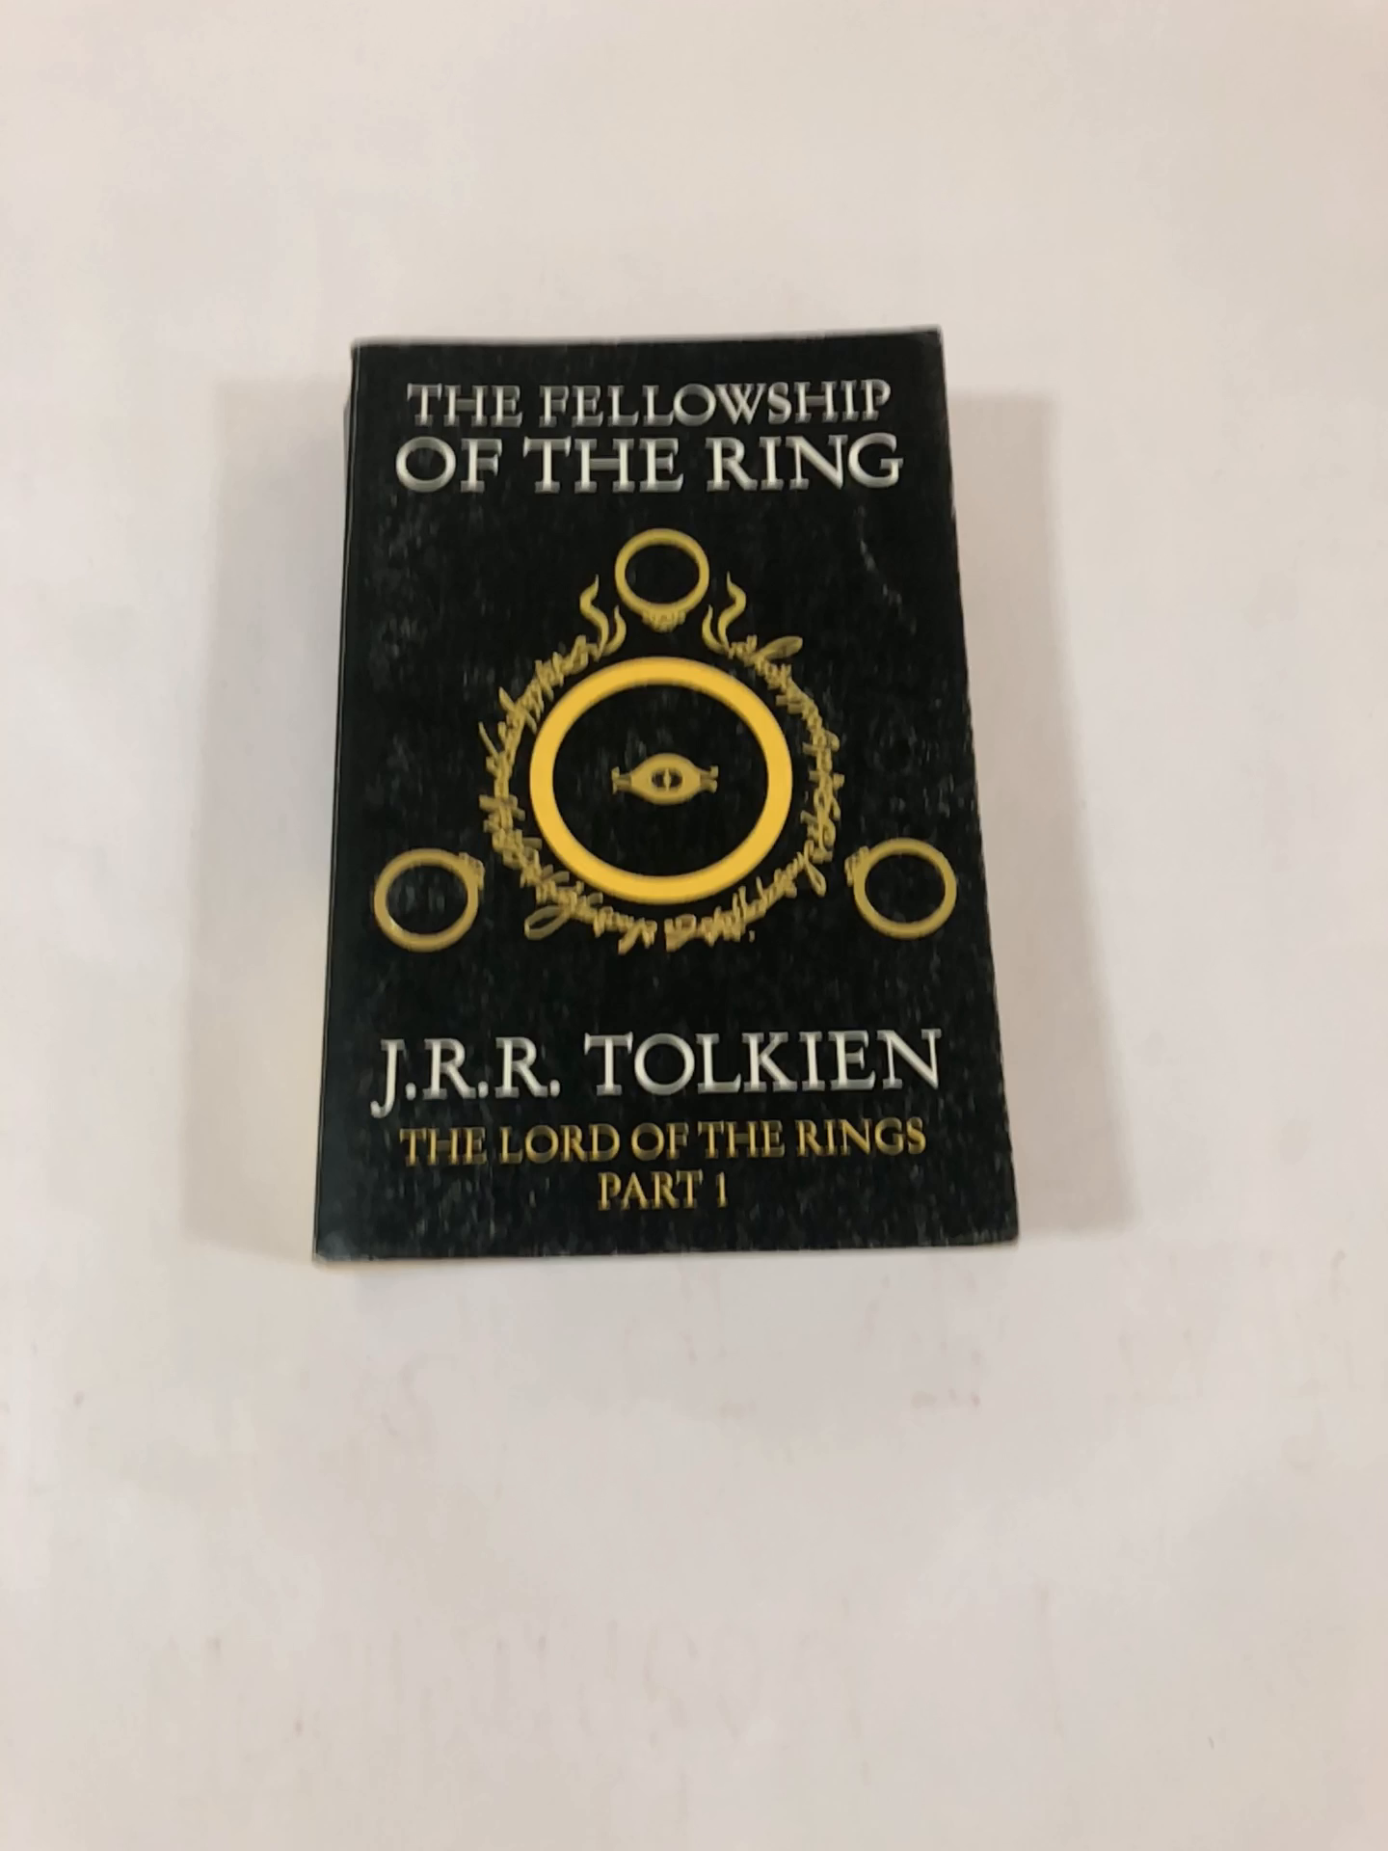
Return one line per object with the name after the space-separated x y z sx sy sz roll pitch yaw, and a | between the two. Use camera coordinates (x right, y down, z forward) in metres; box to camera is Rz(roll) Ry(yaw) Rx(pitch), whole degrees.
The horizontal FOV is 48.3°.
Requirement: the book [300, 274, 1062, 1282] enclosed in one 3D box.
0.002 -0.034 0.318 0.130 0.050 0.200 1 72 4 | book
